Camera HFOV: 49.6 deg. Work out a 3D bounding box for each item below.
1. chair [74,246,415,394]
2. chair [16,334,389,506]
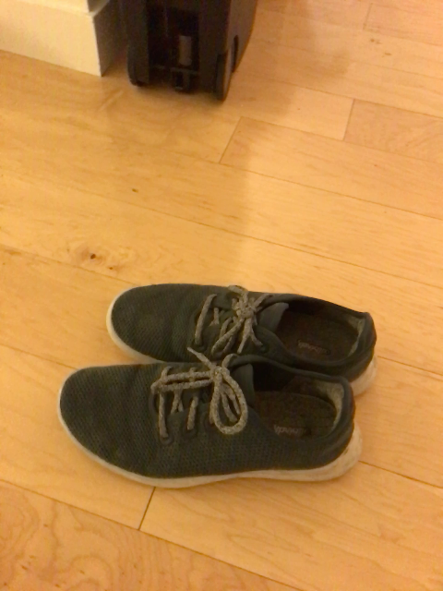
[{"bbox_3d":[0.023,0.030,0.516,0.320,0.099,0.101,5,63,-1],"label":"chair"},{"bbox_3d":[-0.014,0.121,0.457,0.300,0.099,0.111,4,55,-1],"label":"chair"}]
